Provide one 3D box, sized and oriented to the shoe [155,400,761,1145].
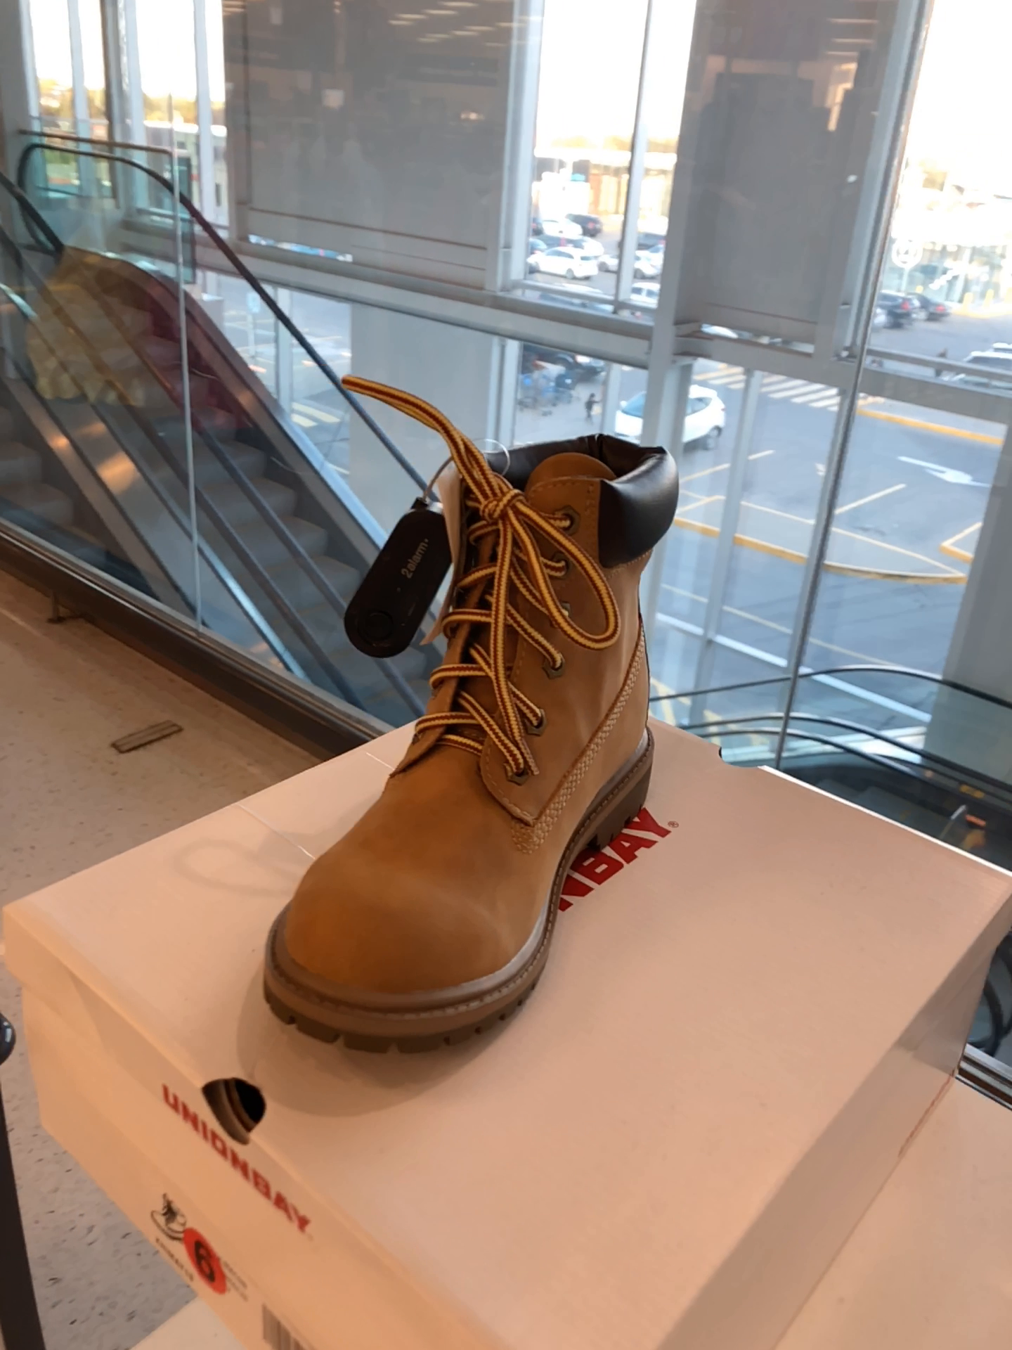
[{"bbox_3d":[-0.002,0.009,0.421,0.107,0.169,0.241,16,28,22],"label":"shoe"}]
